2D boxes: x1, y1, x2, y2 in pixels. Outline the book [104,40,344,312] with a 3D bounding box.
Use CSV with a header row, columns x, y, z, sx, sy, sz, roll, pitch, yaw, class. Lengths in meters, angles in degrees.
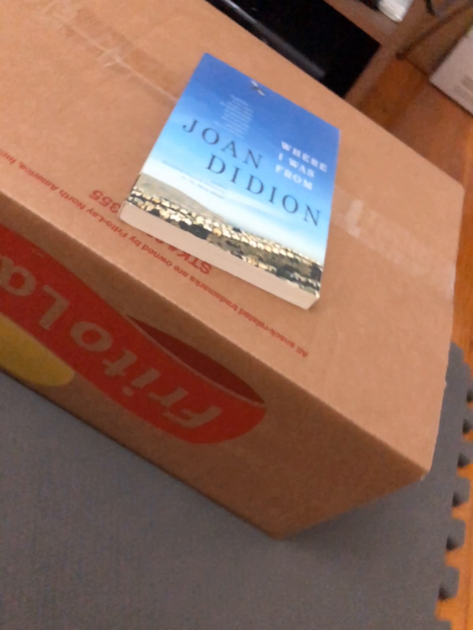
x,y,z,sx,sy,sz,roll,pitch,yaw,class
0.008,-0.113,0.386,0.140,0.020,0.211,25,48,-13,book
